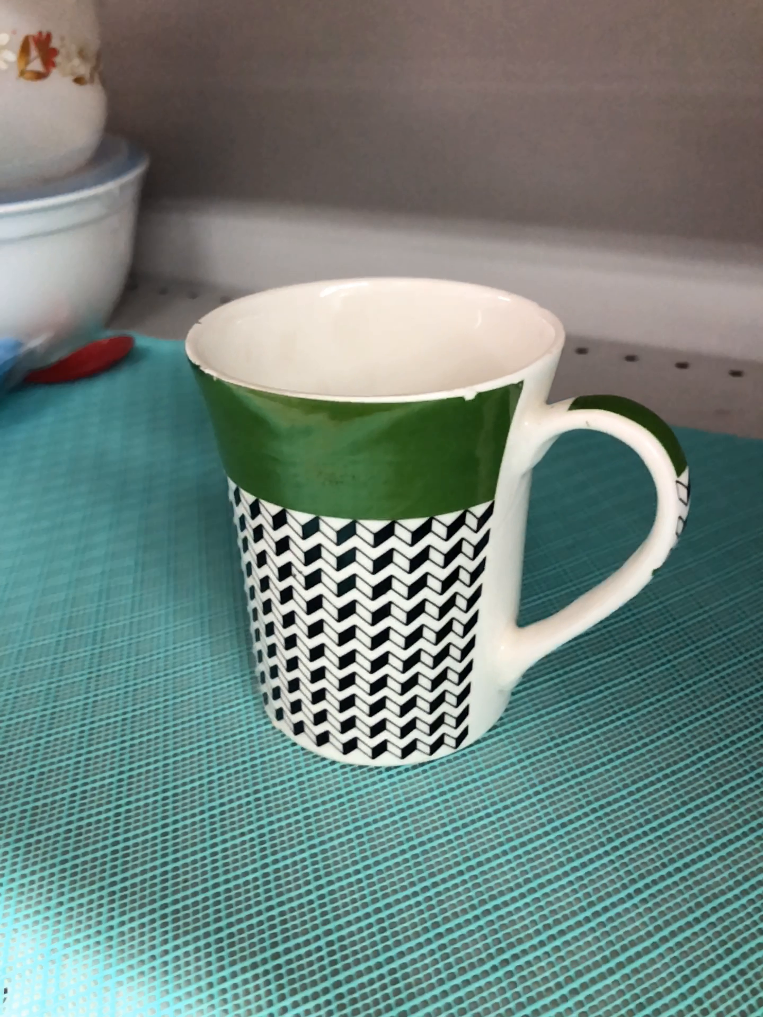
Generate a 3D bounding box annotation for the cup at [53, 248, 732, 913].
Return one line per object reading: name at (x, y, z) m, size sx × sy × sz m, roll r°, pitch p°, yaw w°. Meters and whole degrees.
cup at (0.009, 0.006, 0.191) m, size 0.110 × 0.099 × 0.081 m, roll 11°, pitch 32°, yaw 19°
